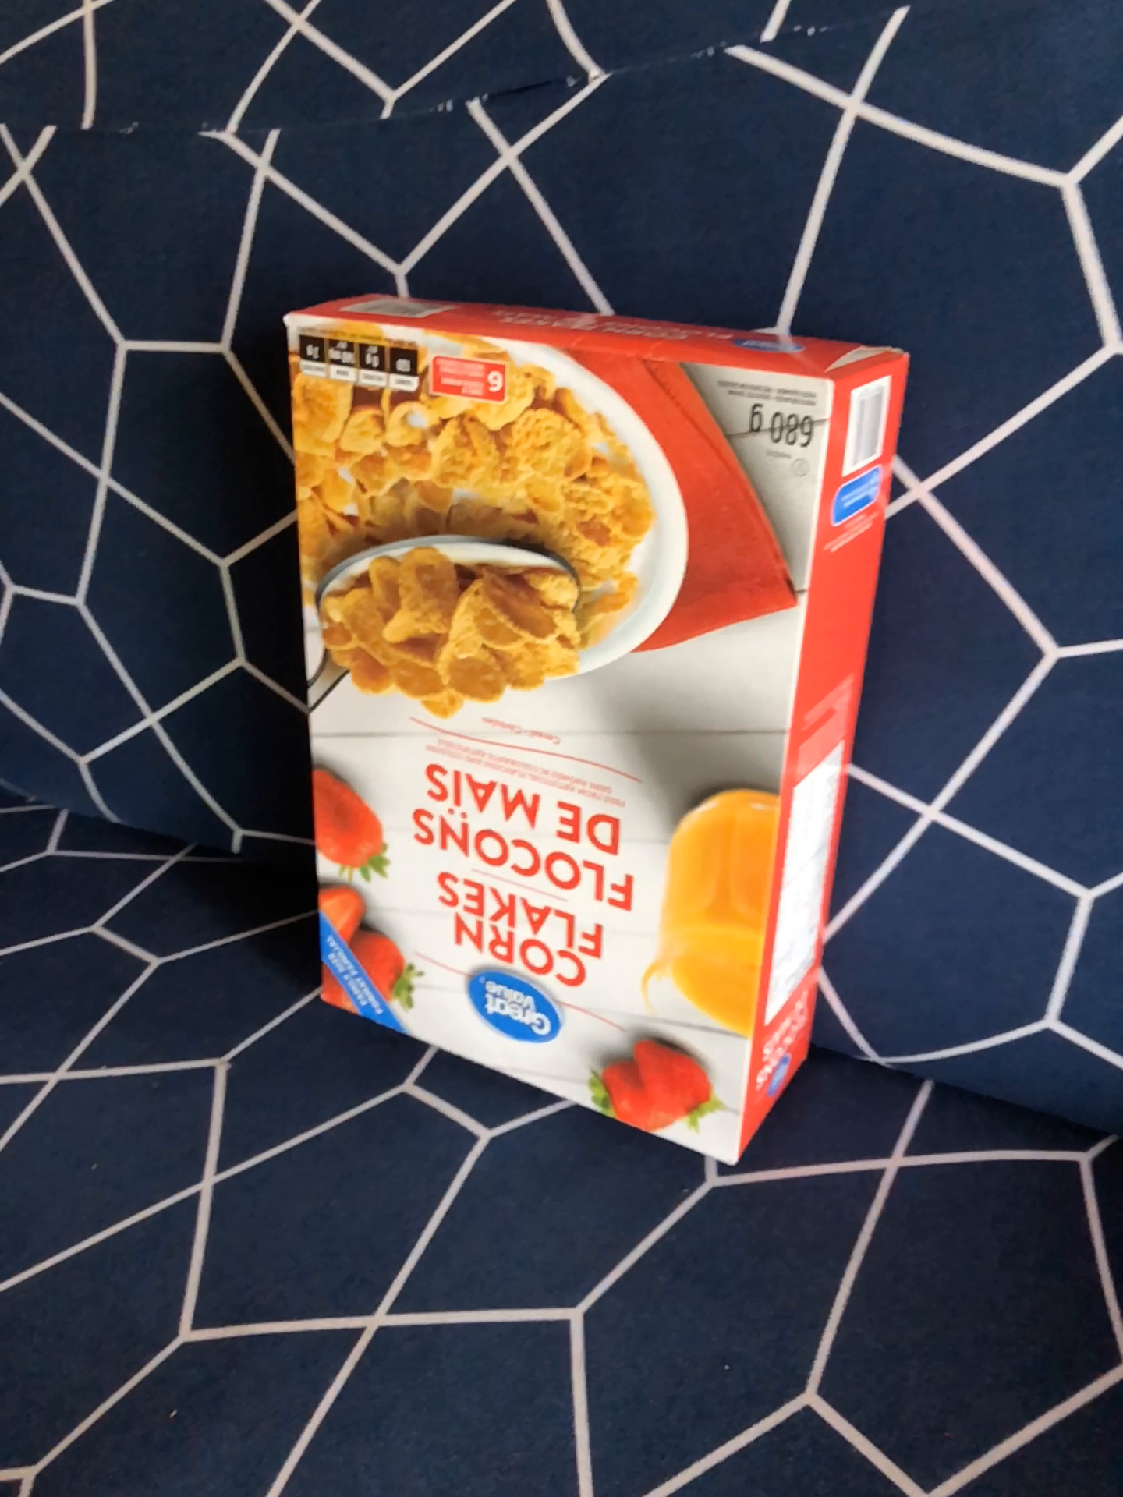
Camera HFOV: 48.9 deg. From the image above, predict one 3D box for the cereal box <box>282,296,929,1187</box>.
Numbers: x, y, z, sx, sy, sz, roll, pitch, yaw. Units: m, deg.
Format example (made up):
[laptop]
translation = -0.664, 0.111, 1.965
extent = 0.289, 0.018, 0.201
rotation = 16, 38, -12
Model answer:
[cereal box]
translation = 0.007, -0.013, 0.523
extent = 0.221, 0.318, 0.100
rotation = 15, 26, 27
